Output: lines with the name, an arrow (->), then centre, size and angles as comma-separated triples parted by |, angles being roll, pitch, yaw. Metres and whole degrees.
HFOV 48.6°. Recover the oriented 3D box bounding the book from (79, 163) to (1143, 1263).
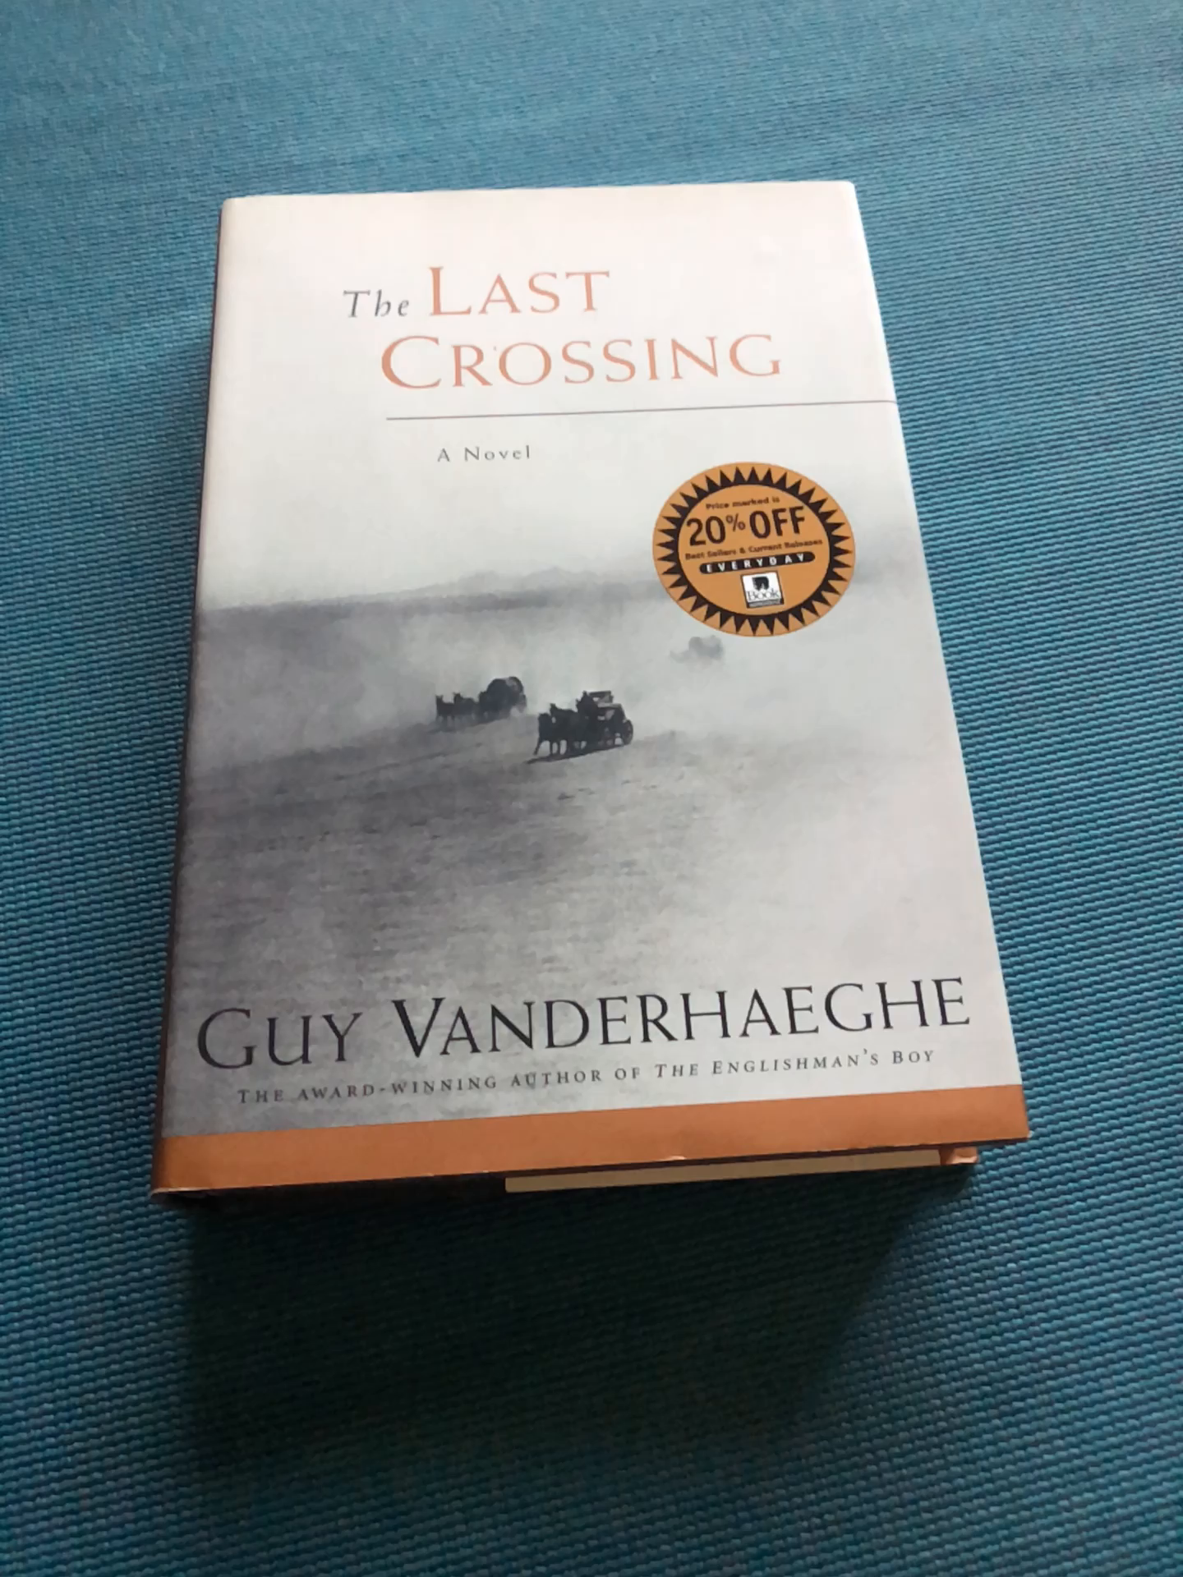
book -> -0.003, -0.030, 0.274 | 0.170, 0.040, 0.231 | -3, 66, -4
